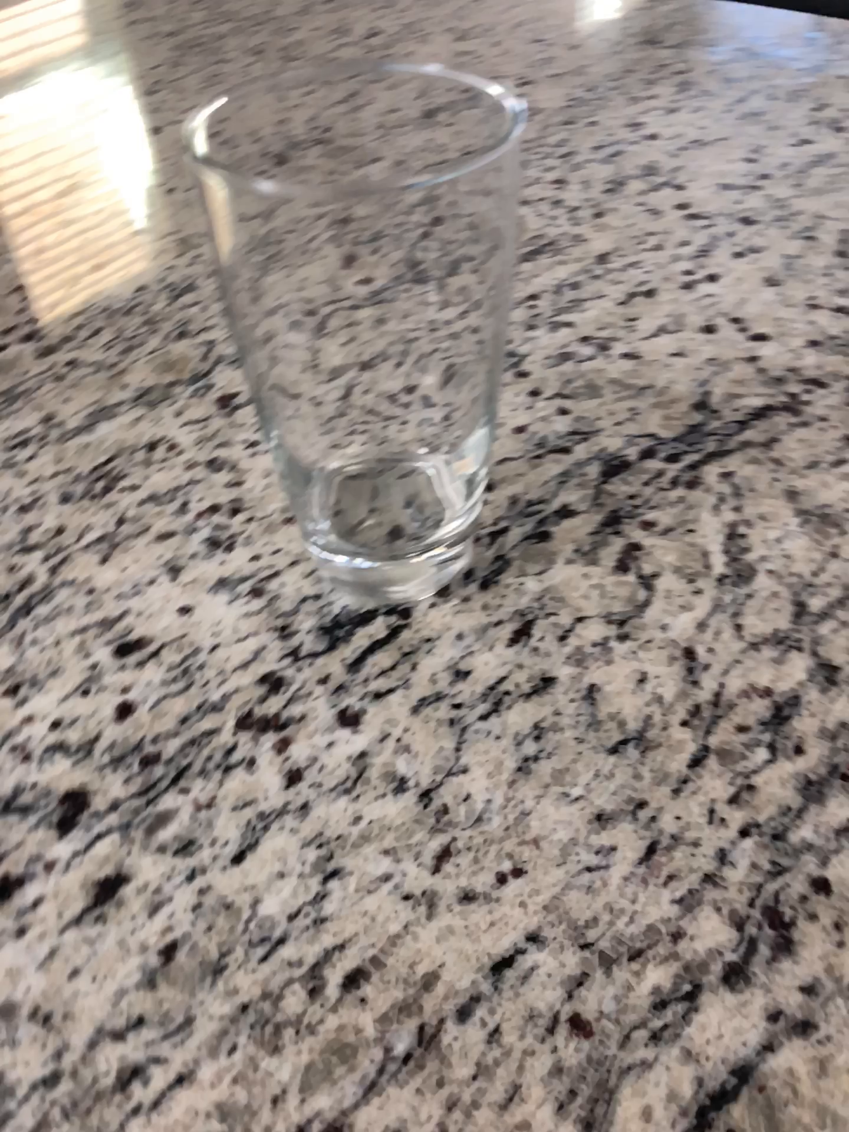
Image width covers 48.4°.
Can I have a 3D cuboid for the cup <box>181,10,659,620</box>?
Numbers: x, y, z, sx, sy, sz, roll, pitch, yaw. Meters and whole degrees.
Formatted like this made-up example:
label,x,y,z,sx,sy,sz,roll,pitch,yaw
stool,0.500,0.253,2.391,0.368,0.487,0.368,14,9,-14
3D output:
label,x,y,z,sx,sy,sz,roll,pitch,yaw
cup,-0.005,-0.072,0.276,0.100,0.129,0.101,-2,44,2
